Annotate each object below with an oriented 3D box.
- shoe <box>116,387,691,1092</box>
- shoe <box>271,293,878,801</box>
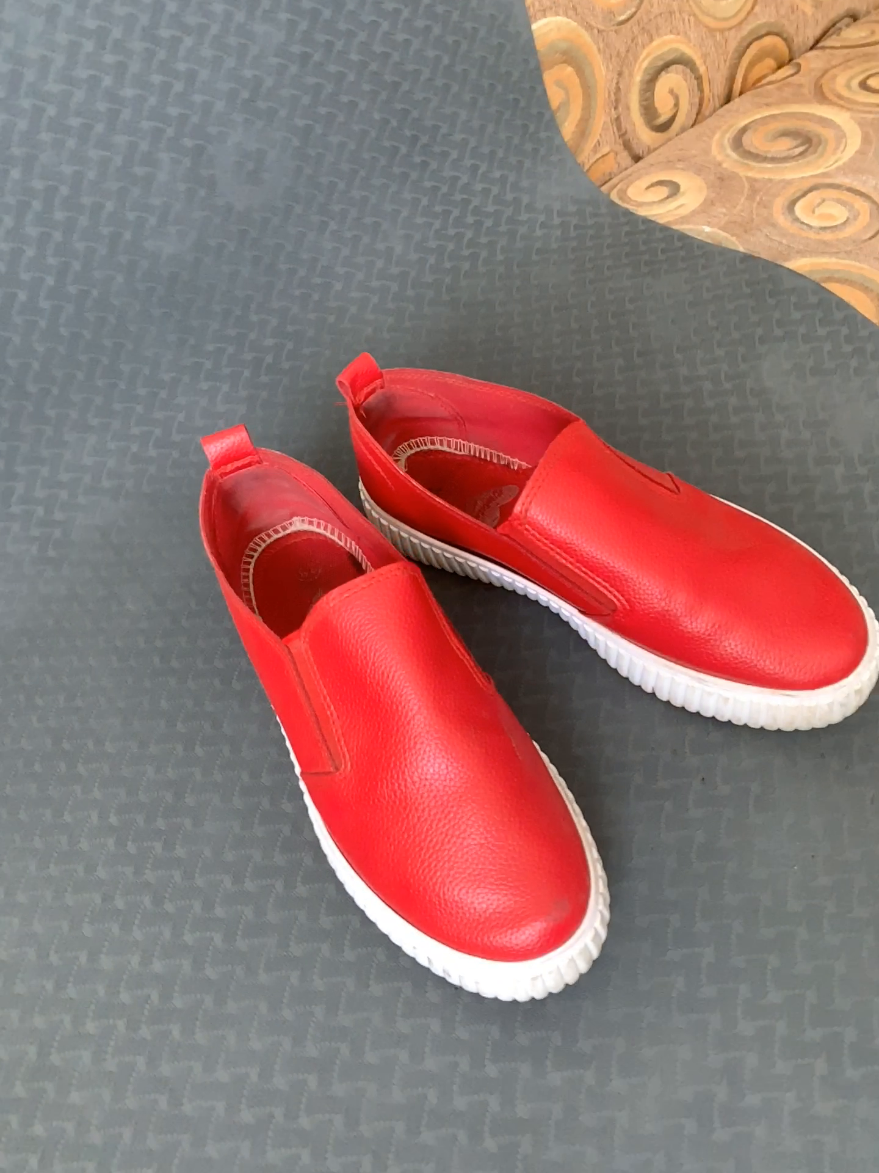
[{"bbox_3d":[-0.025,0.042,0.340,0.095,0.070,0.241,-29,59,-11],"label":"shoe"},{"bbox_3d":[0.063,-0.025,0.364,0.240,0.070,0.095,26,65,21],"label":"shoe"}]
